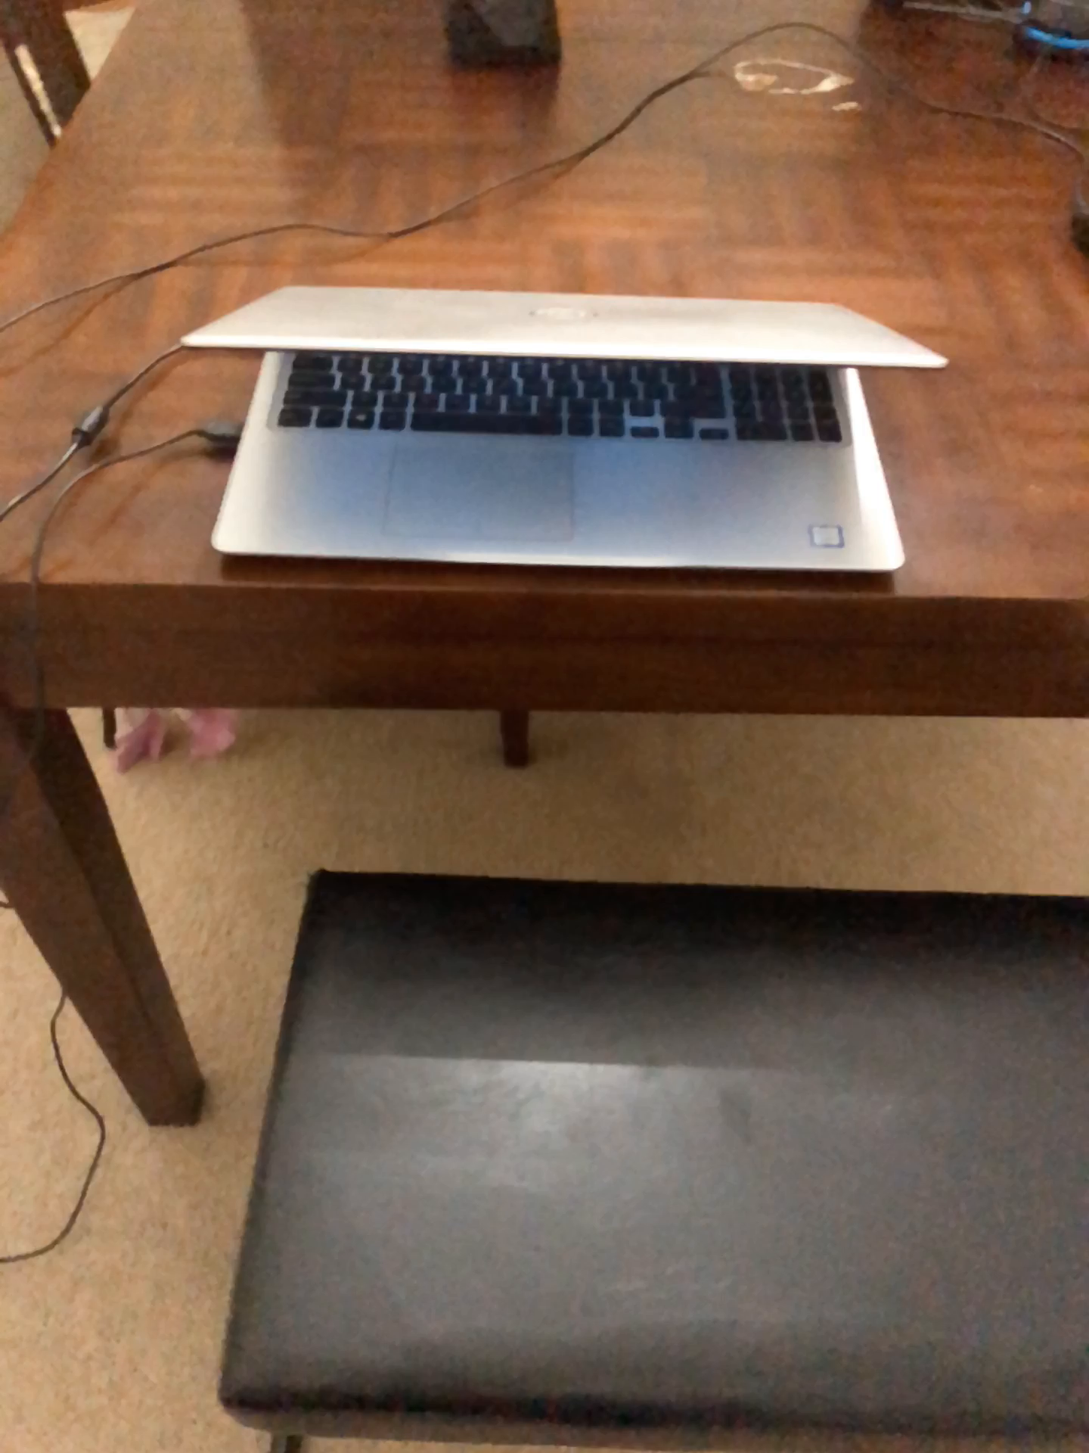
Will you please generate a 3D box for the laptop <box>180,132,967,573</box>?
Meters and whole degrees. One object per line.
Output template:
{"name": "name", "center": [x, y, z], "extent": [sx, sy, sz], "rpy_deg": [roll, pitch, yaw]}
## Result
{"name": "laptop", "center": [0.011, -0.218, 0.679], "extent": [0.368, 0.103, 0.250], "rpy_deg": [1, 51, 0]}
